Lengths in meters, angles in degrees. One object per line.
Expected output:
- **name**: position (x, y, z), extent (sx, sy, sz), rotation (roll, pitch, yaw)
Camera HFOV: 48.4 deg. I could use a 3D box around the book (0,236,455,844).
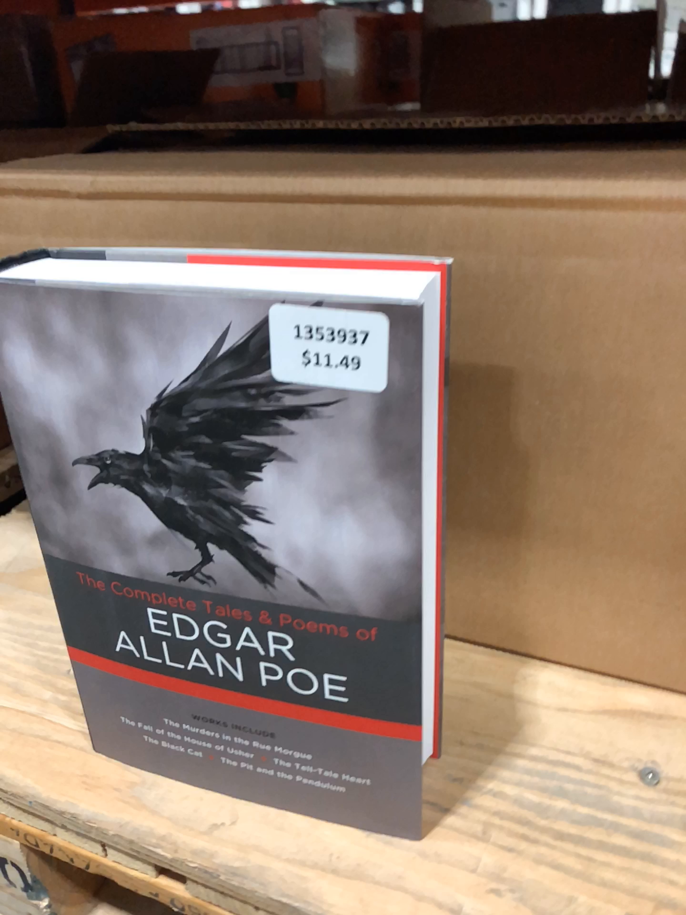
- **book**: position (-0.046, 0.037, 0.319), extent (0.171, 0.240, 0.054), rotation (7, 30, 18)
